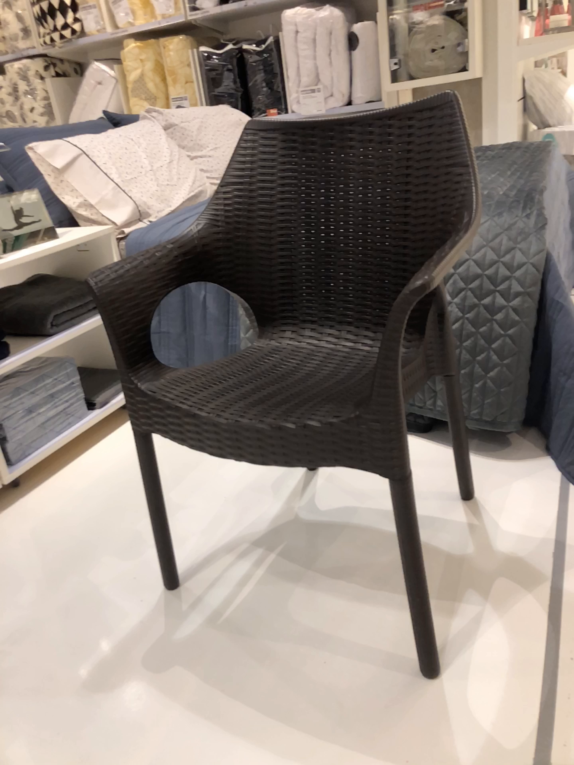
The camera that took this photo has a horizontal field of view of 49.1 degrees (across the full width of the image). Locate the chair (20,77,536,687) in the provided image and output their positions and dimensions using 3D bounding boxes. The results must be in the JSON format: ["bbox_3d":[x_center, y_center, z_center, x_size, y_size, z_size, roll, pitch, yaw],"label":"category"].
[{"bbox_3d":[0.066,-0.065,1.109,0.591,0.765,0.573,6,27,31],"label":"chair"}]
